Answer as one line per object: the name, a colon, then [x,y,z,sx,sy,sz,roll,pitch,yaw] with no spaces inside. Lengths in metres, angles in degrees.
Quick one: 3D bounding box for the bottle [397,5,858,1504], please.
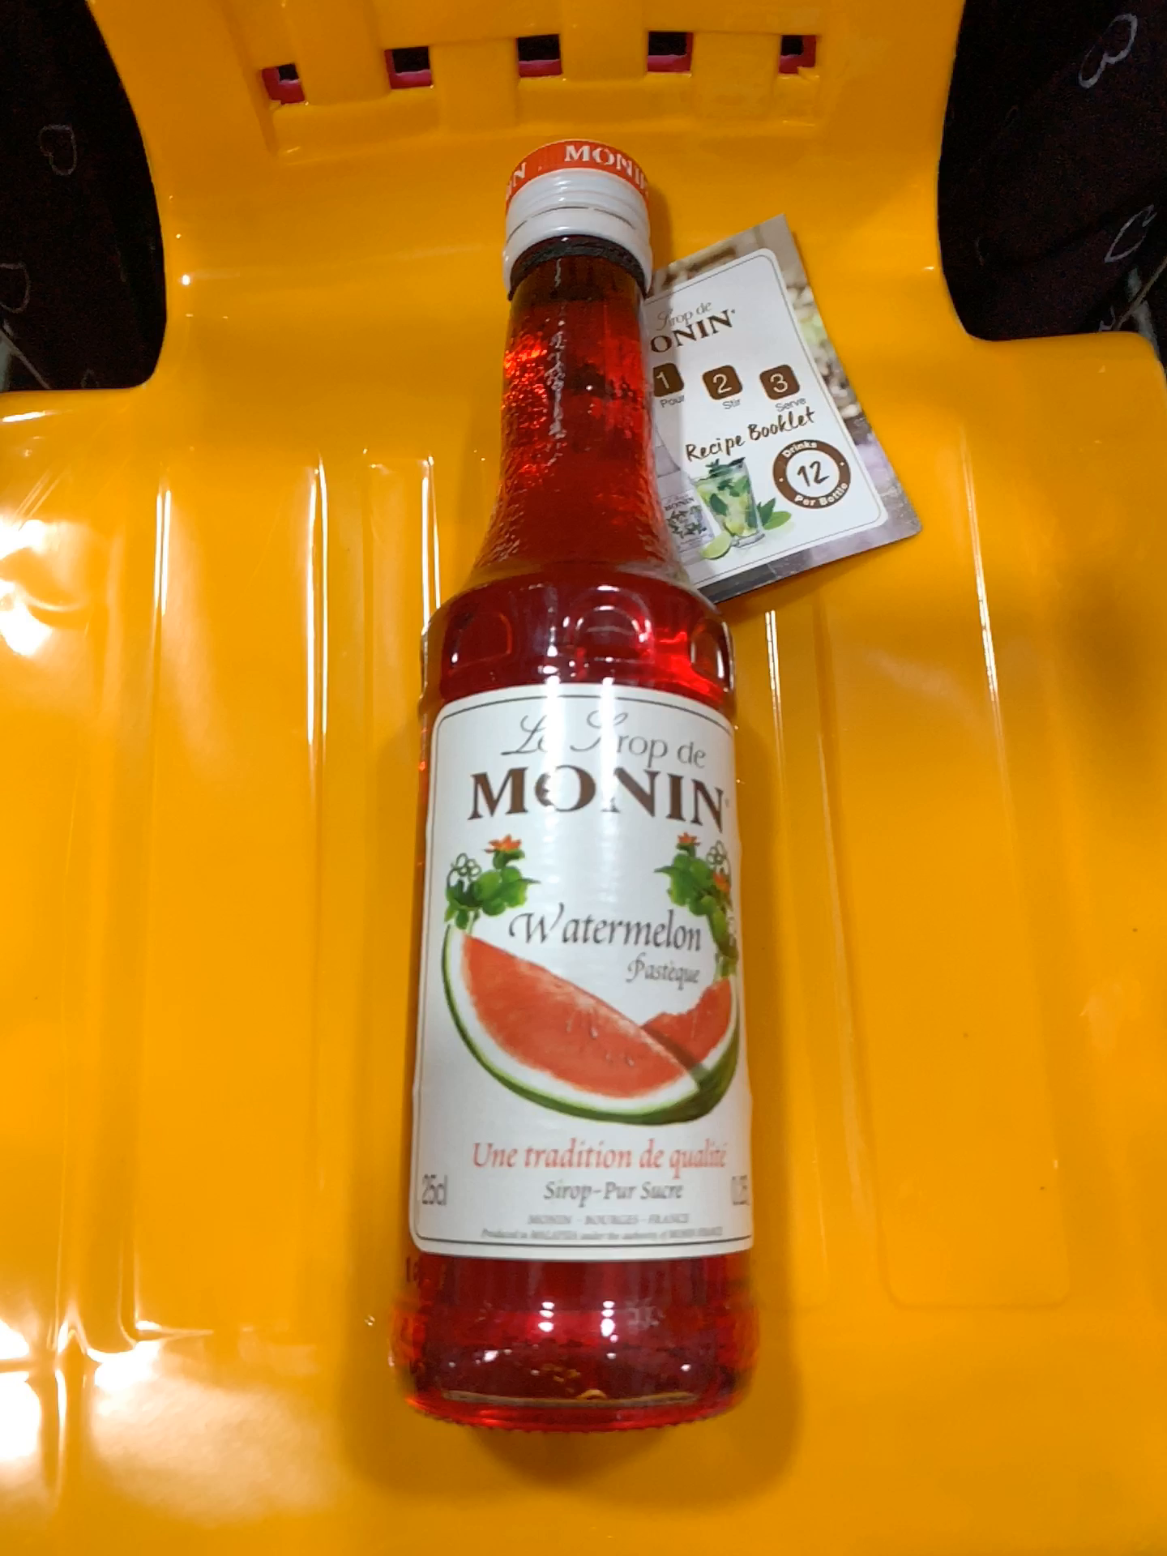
bottle: [0.004,-0.014,0.206,0.060,0.050,0.230,3,76,-8]
